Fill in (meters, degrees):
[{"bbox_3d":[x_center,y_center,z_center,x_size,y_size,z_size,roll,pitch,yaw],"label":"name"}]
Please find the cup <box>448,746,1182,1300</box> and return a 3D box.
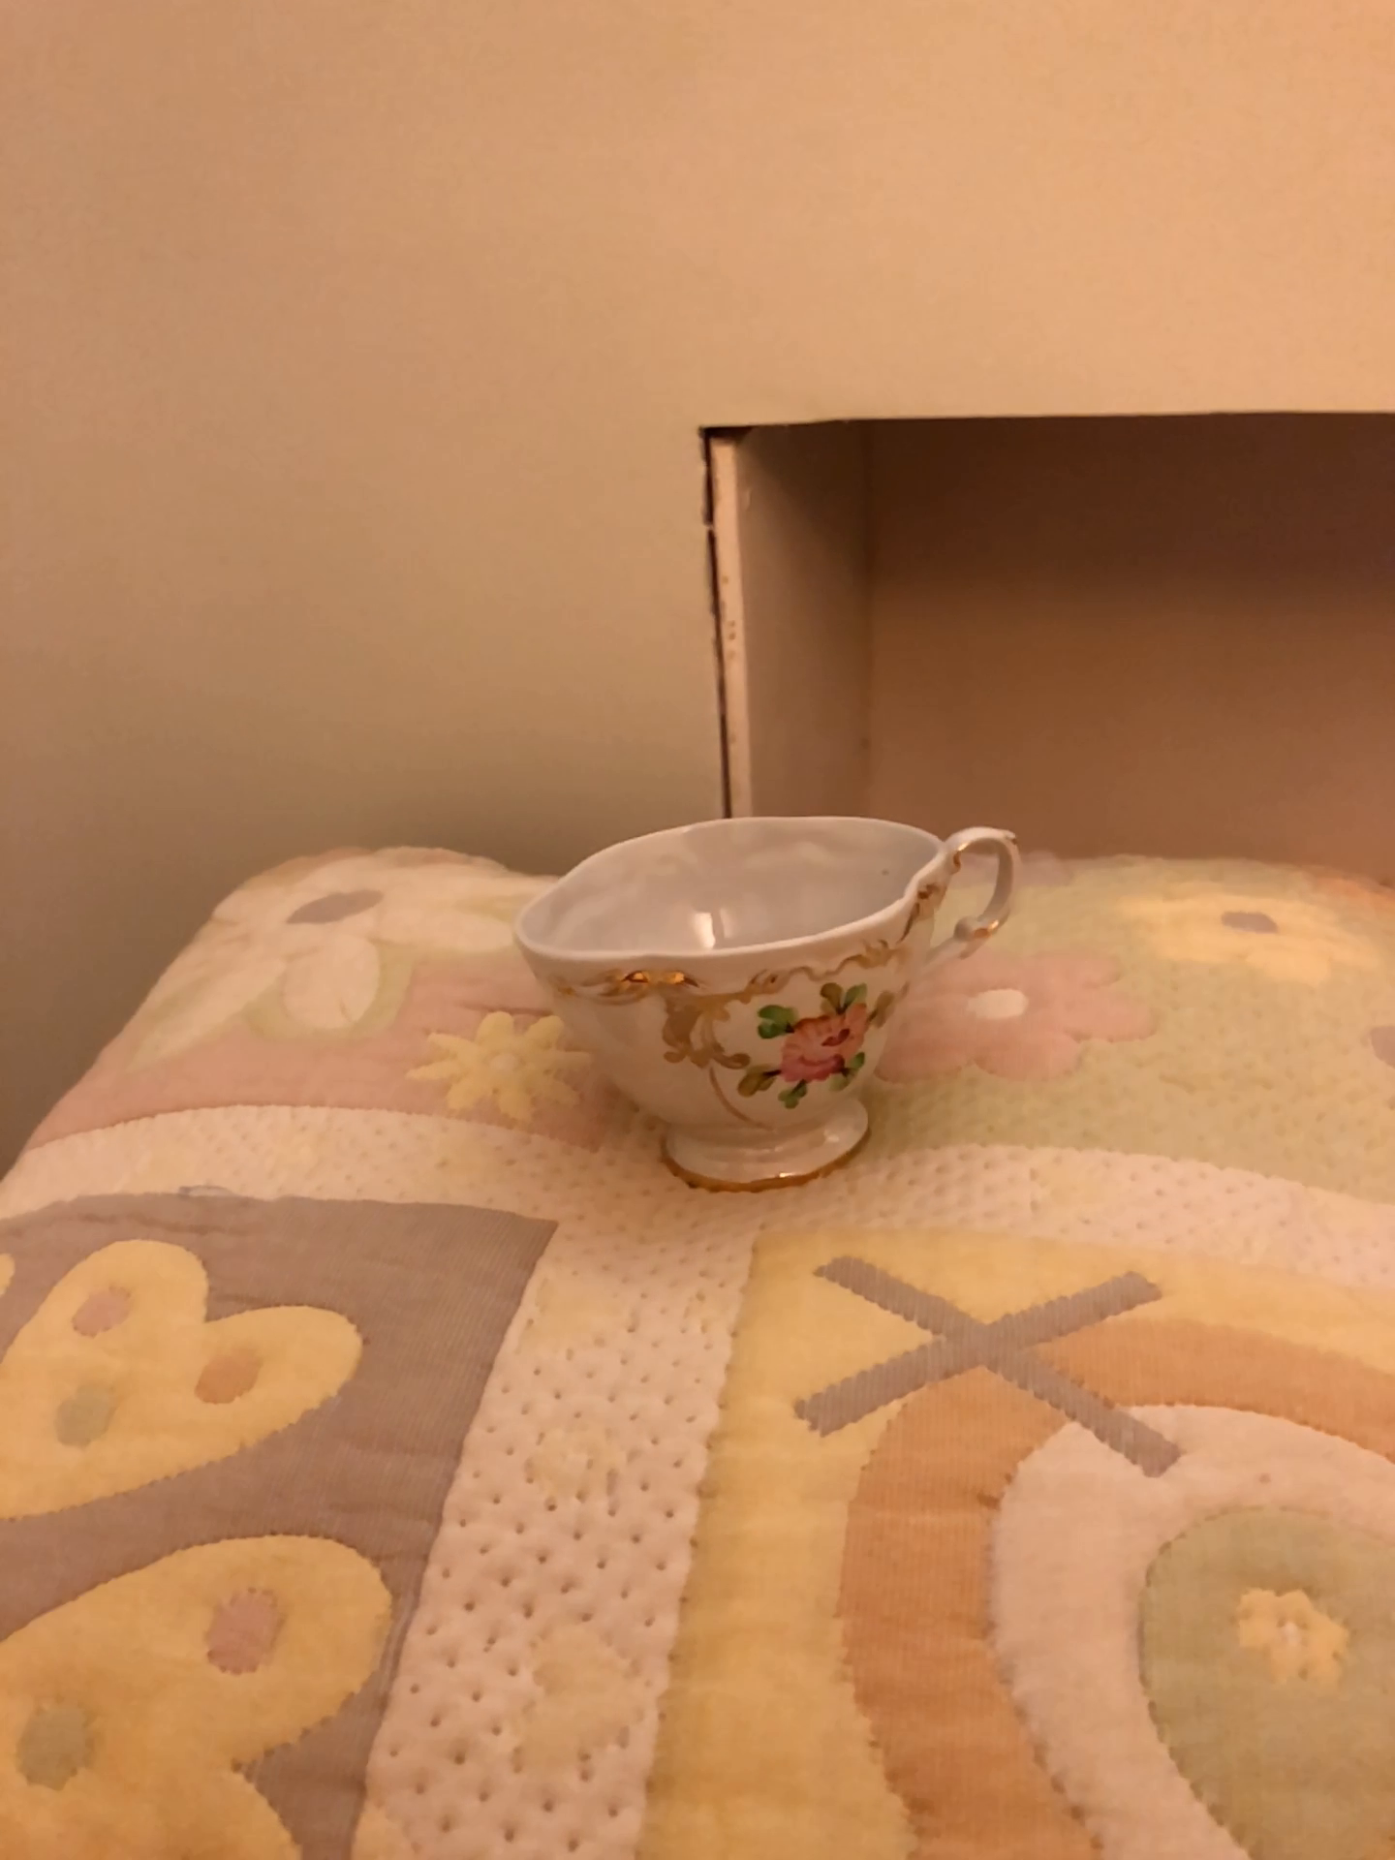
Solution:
[{"bbox_3d":[0.027,0.012,0.376,0.140,0.070,0.100,-17,21,-22],"label":"cup"}]
